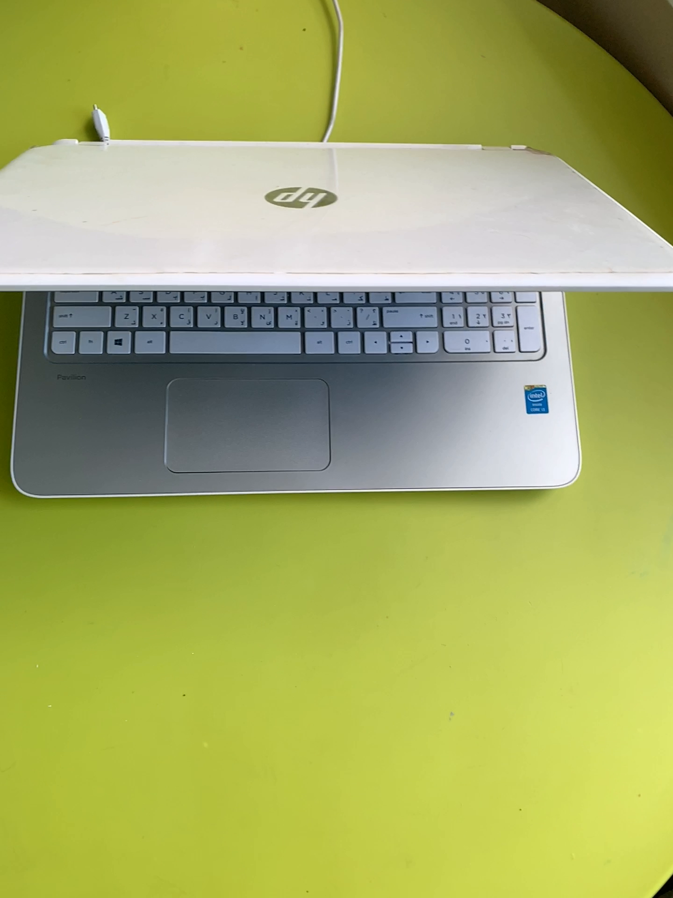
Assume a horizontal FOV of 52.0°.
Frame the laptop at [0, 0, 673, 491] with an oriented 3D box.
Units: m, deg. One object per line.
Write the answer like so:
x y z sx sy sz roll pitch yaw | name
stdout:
-0.018 -0.113 0.398 0.367 0.163 0.243 -1 77 -4 | laptop
